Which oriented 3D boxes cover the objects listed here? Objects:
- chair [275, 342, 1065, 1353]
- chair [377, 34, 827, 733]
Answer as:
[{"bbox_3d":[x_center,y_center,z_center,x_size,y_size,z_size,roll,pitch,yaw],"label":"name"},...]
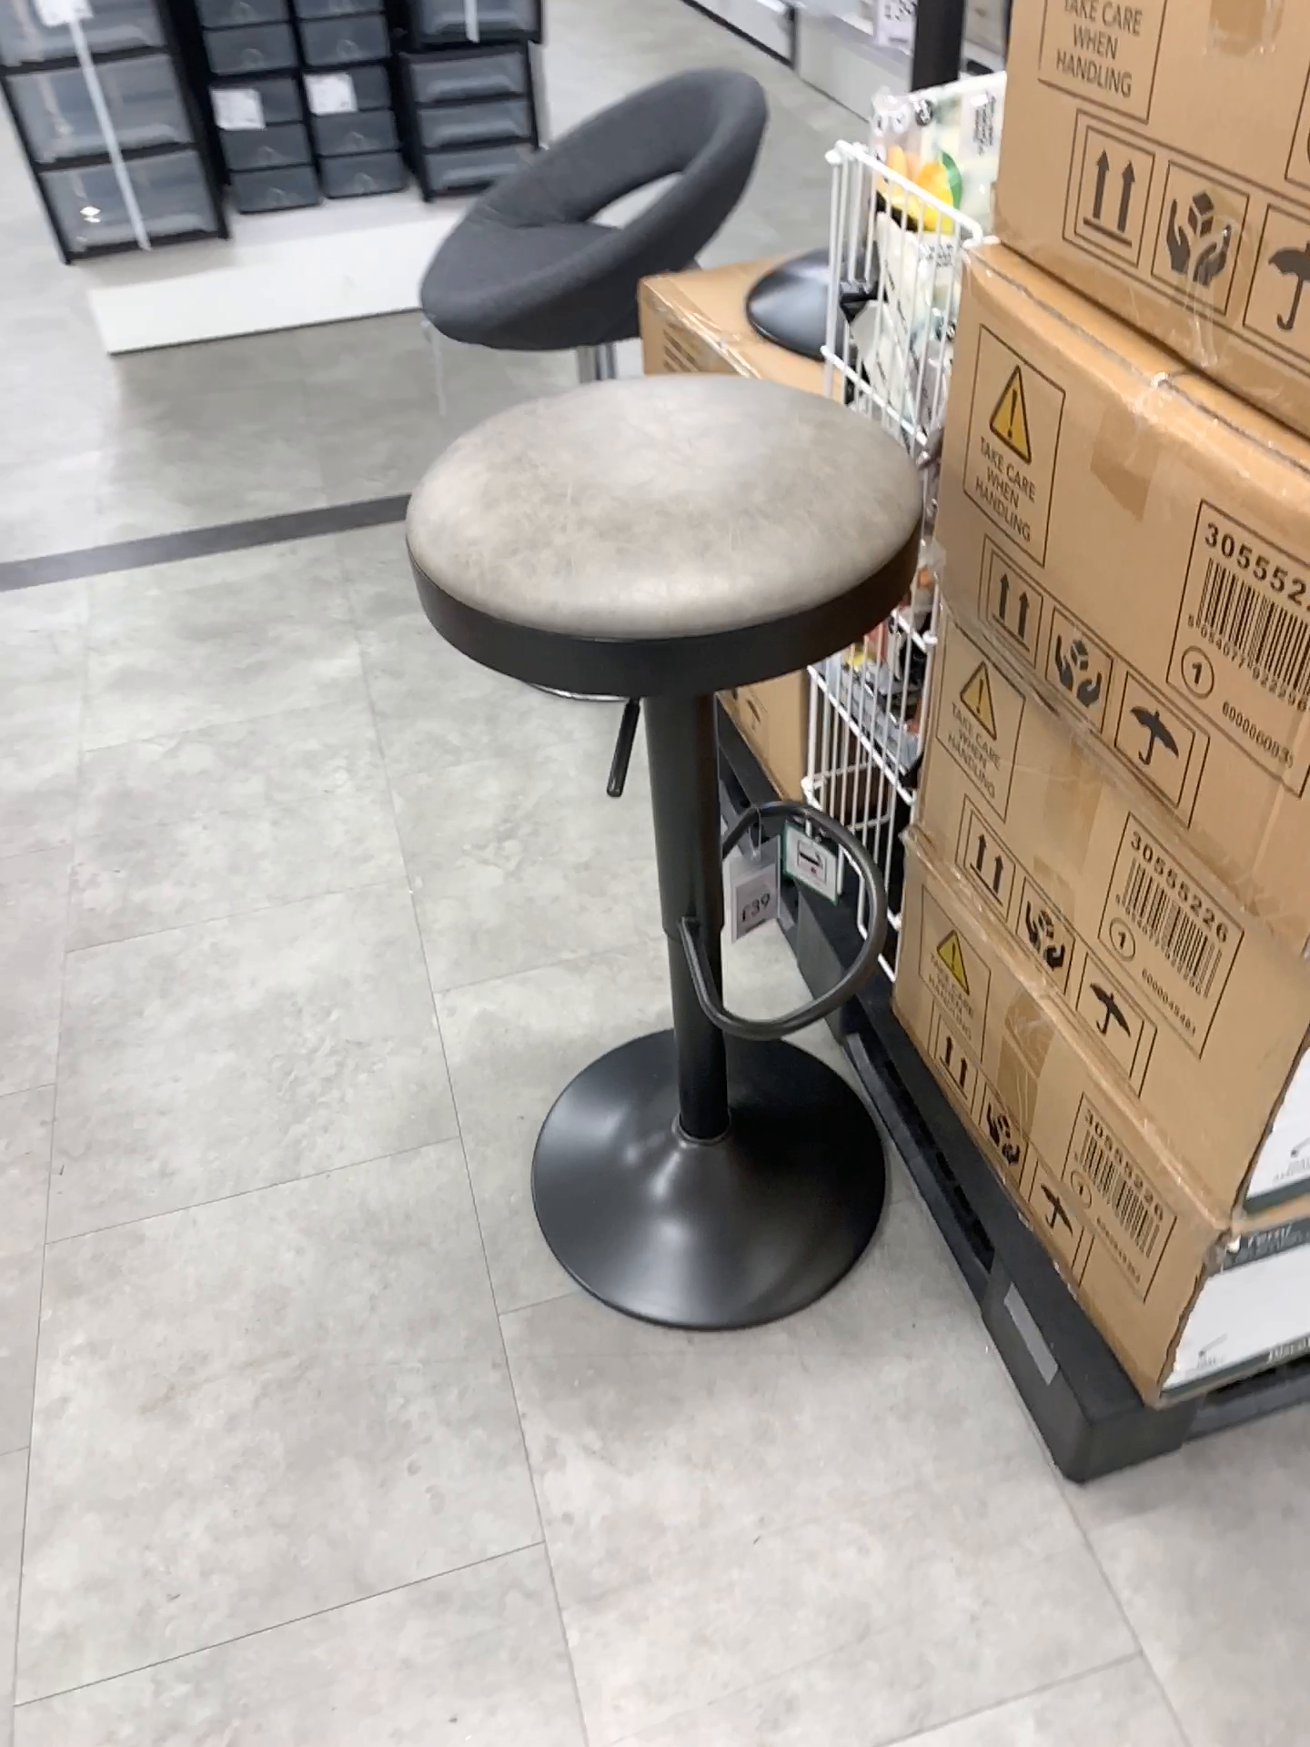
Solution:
[{"bbox_3d":[0.028,0.012,1.151,0.433,0.740,0.462,-1,43,3],"label":"chair"},{"bbox_3d":[-0.073,-0.672,1.854,0.453,0.721,0.512,-11,43,-8],"label":"chair"}]
